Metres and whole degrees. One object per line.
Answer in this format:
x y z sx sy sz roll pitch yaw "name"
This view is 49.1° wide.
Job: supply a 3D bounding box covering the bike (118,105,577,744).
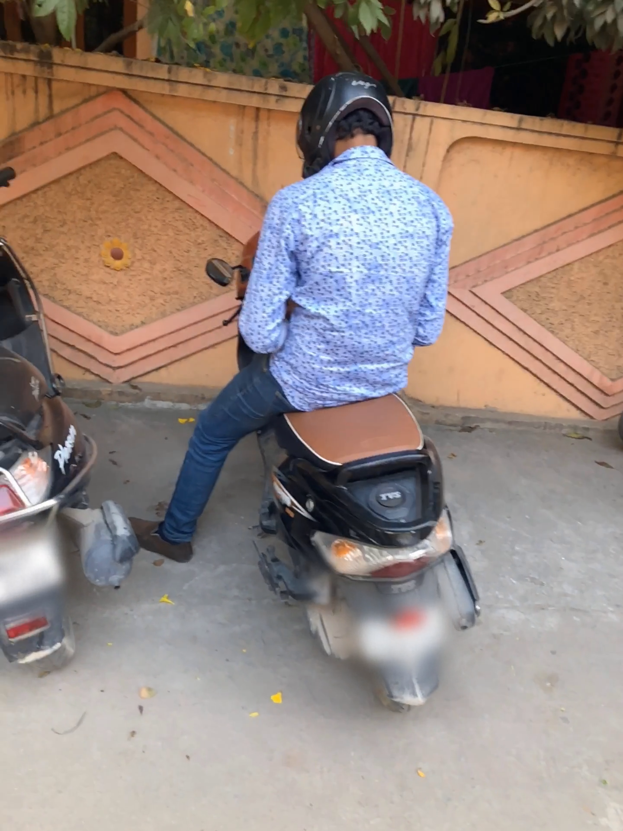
-0.101 -0.102 1.927 0.629 1.038 1.326 -3 33 -23 "bike"
